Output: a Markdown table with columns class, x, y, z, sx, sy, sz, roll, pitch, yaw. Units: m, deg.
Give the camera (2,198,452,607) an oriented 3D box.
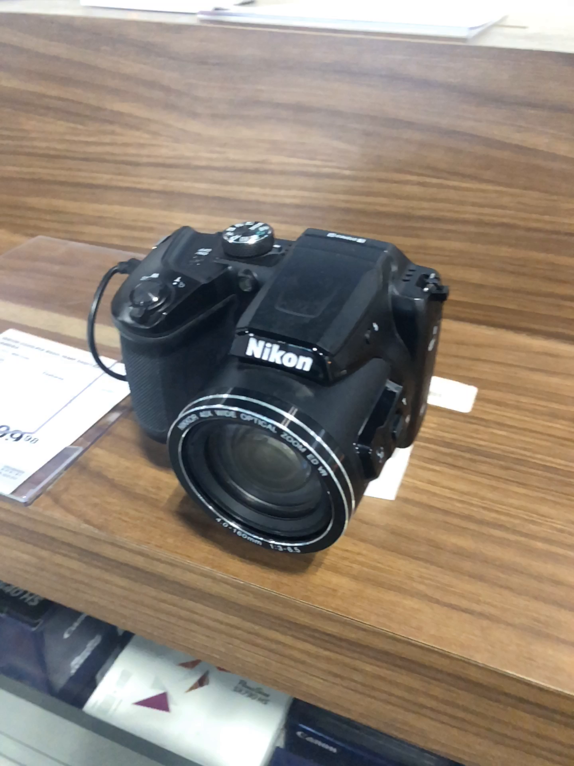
| class | x | y | z | sx | sy | sz | roll | pitch | yaw |
| --- | --- | --- | --- | --- | --- | --- | --- | --- | --- |
| camera | -0.013 | -0.004 | 0.221 | 0.110 | 0.079 | 0.096 | 14 | 35 | 17 |
